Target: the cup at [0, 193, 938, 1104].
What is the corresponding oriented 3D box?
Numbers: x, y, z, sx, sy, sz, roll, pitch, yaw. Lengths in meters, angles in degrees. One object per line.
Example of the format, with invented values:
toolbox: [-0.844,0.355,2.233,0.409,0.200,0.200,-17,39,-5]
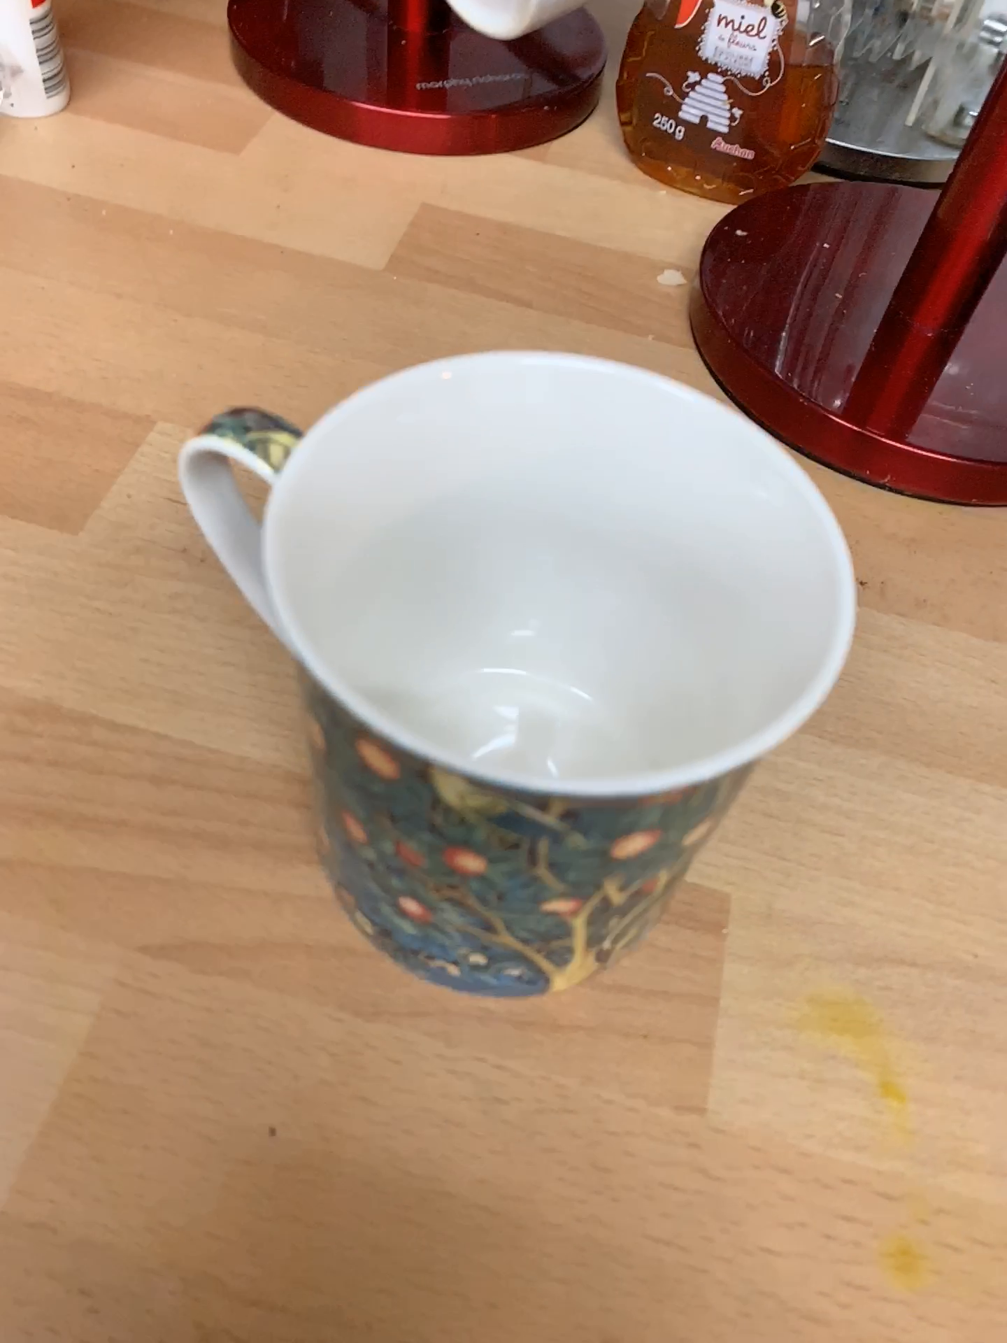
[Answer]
cup: [-0.009,-0.006,0.191,0.120,0.089,0.091,29,55,13]
